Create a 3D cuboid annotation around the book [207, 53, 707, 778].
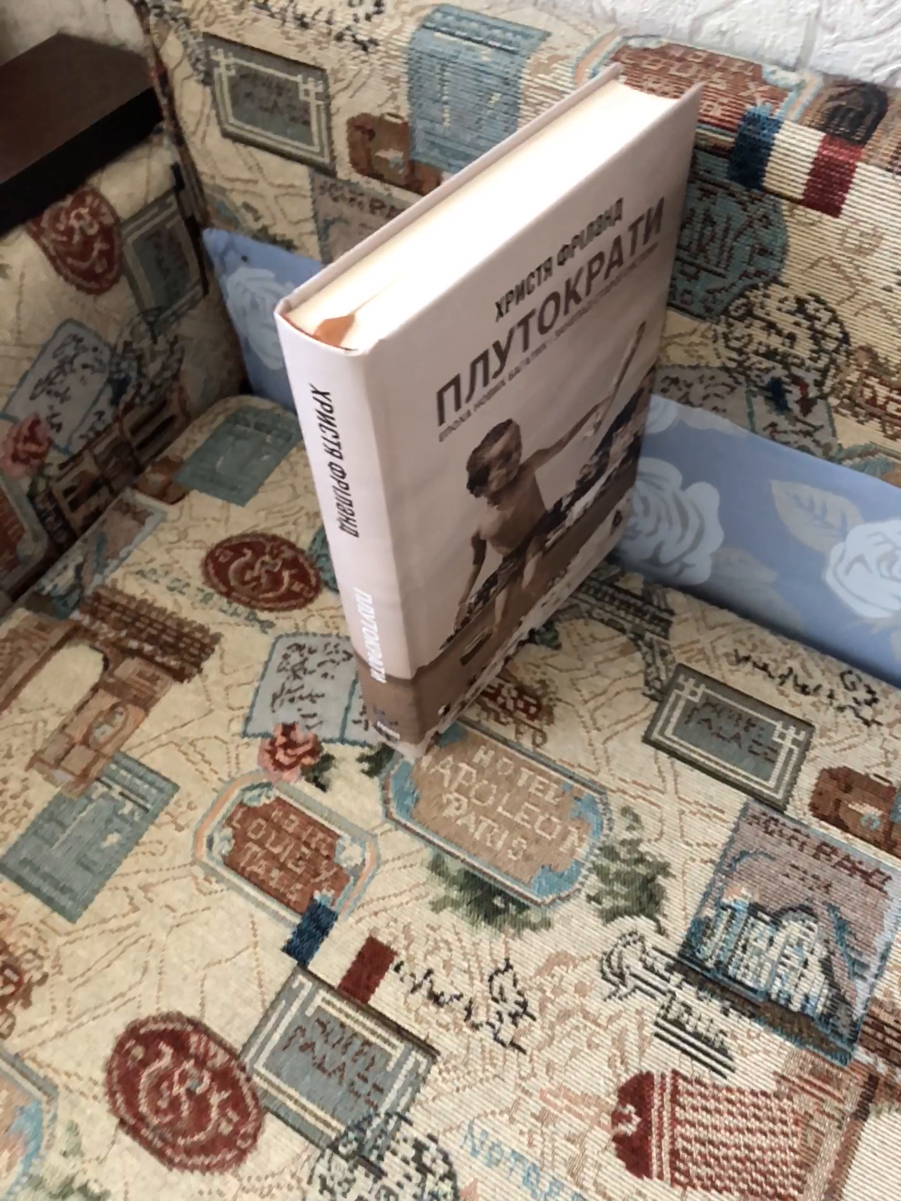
[{"bbox_3d":[0.011,-0.051,0.370,0.040,0.219,0.171,35,63,22],"label":"book"}]
